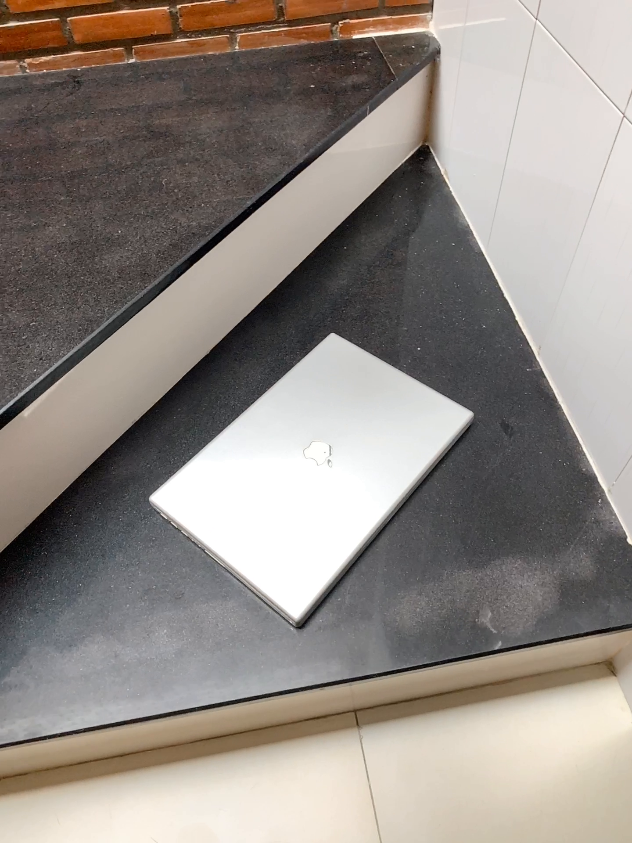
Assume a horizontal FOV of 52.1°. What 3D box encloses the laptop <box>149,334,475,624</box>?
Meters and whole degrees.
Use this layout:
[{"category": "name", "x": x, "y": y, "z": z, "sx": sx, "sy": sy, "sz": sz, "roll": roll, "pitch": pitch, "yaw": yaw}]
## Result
[{"category": "laptop", "x": 0.006, "y": 0.058, "z": 1.019, "sx": 0.292, "sy": 0.013, "sz": 0.441, "roll": 34, "pitch": 61, "yaw": 21}]
